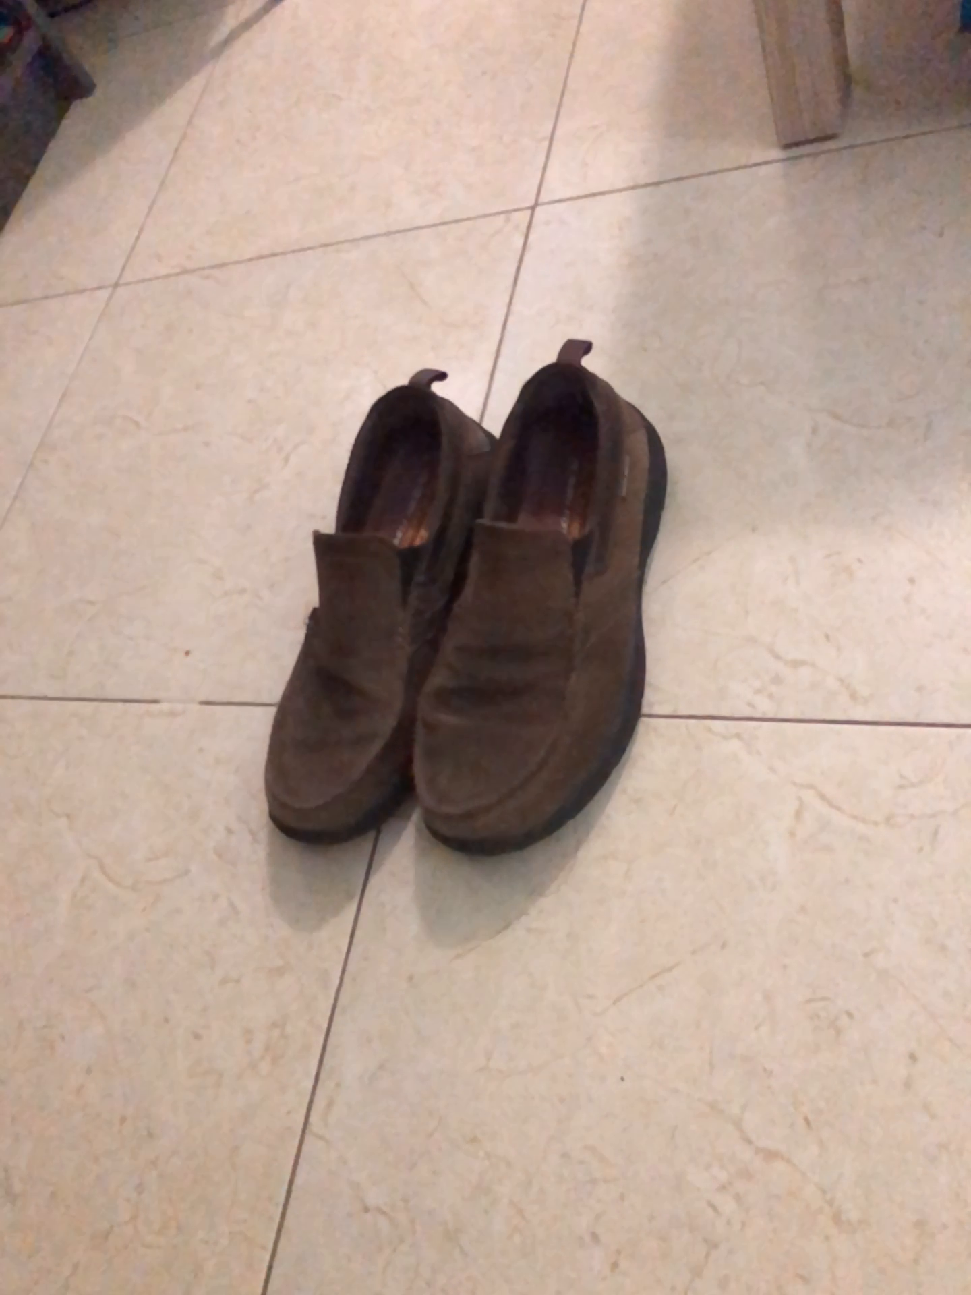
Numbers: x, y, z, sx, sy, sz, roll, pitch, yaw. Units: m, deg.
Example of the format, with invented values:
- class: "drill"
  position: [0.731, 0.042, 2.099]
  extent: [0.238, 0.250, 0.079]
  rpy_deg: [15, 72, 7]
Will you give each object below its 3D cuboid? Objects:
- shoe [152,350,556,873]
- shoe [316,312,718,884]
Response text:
- class: "shoe"
  position: [-0.068, -0.032, 0.665]
  extent: [0.120, 0.100, 0.300]
  rpy_deg: [6, 64, 28]
- class: "shoe"
  position: [0.031, -0.036, 0.611]
  extent: [0.130, 0.100, 0.300]
  rpy_deg: [4, 63, 27]
